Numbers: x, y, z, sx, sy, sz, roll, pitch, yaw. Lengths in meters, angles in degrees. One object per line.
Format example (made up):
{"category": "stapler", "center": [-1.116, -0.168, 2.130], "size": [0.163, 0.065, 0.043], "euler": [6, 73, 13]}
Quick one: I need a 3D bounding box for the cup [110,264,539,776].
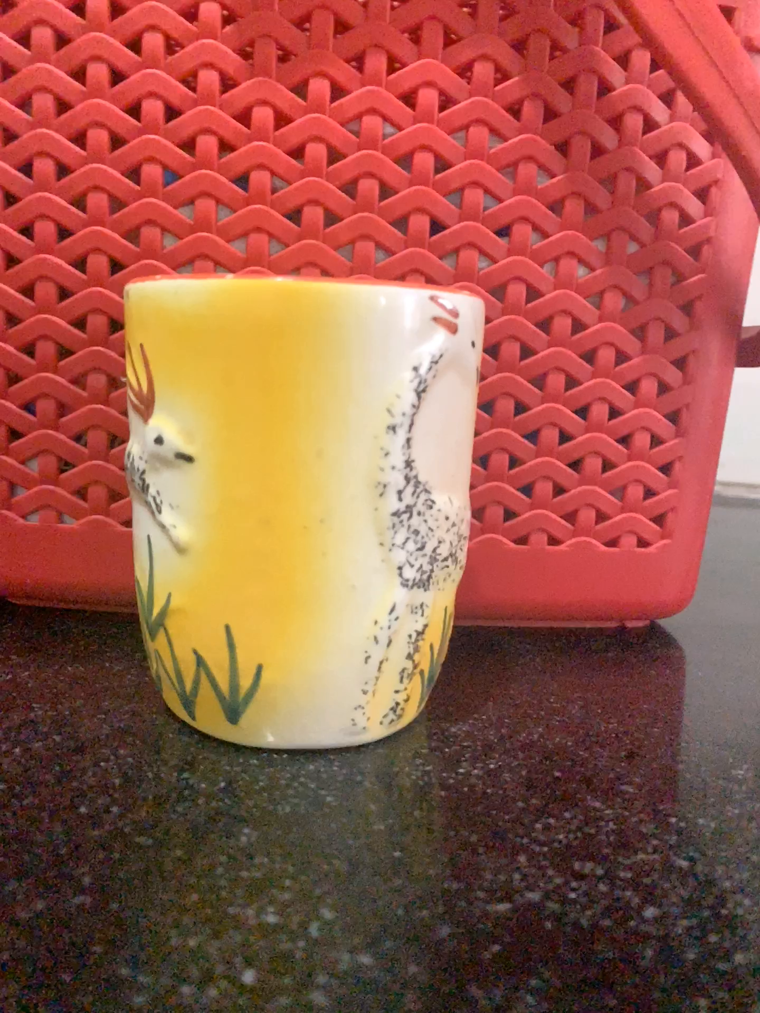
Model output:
{"category": "cup", "center": [-0.017, 0.000, 0.197], "size": [0.080, 0.100, 0.080], "euler": [4, 9, -1]}
